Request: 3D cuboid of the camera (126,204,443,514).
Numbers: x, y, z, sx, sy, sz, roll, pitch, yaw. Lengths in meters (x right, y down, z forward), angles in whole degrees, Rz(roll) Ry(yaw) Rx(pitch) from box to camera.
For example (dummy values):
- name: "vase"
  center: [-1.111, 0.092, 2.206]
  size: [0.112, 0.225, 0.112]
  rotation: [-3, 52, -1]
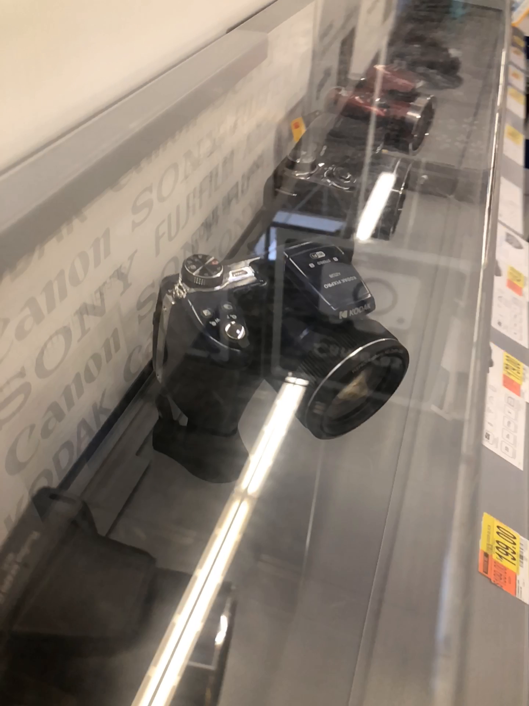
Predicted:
- name: "camera"
  center: [0.007, -0.005, 0.328]
  size: [0.120, 0.090, 0.110]
  rotation: [-25, 49, -29]
